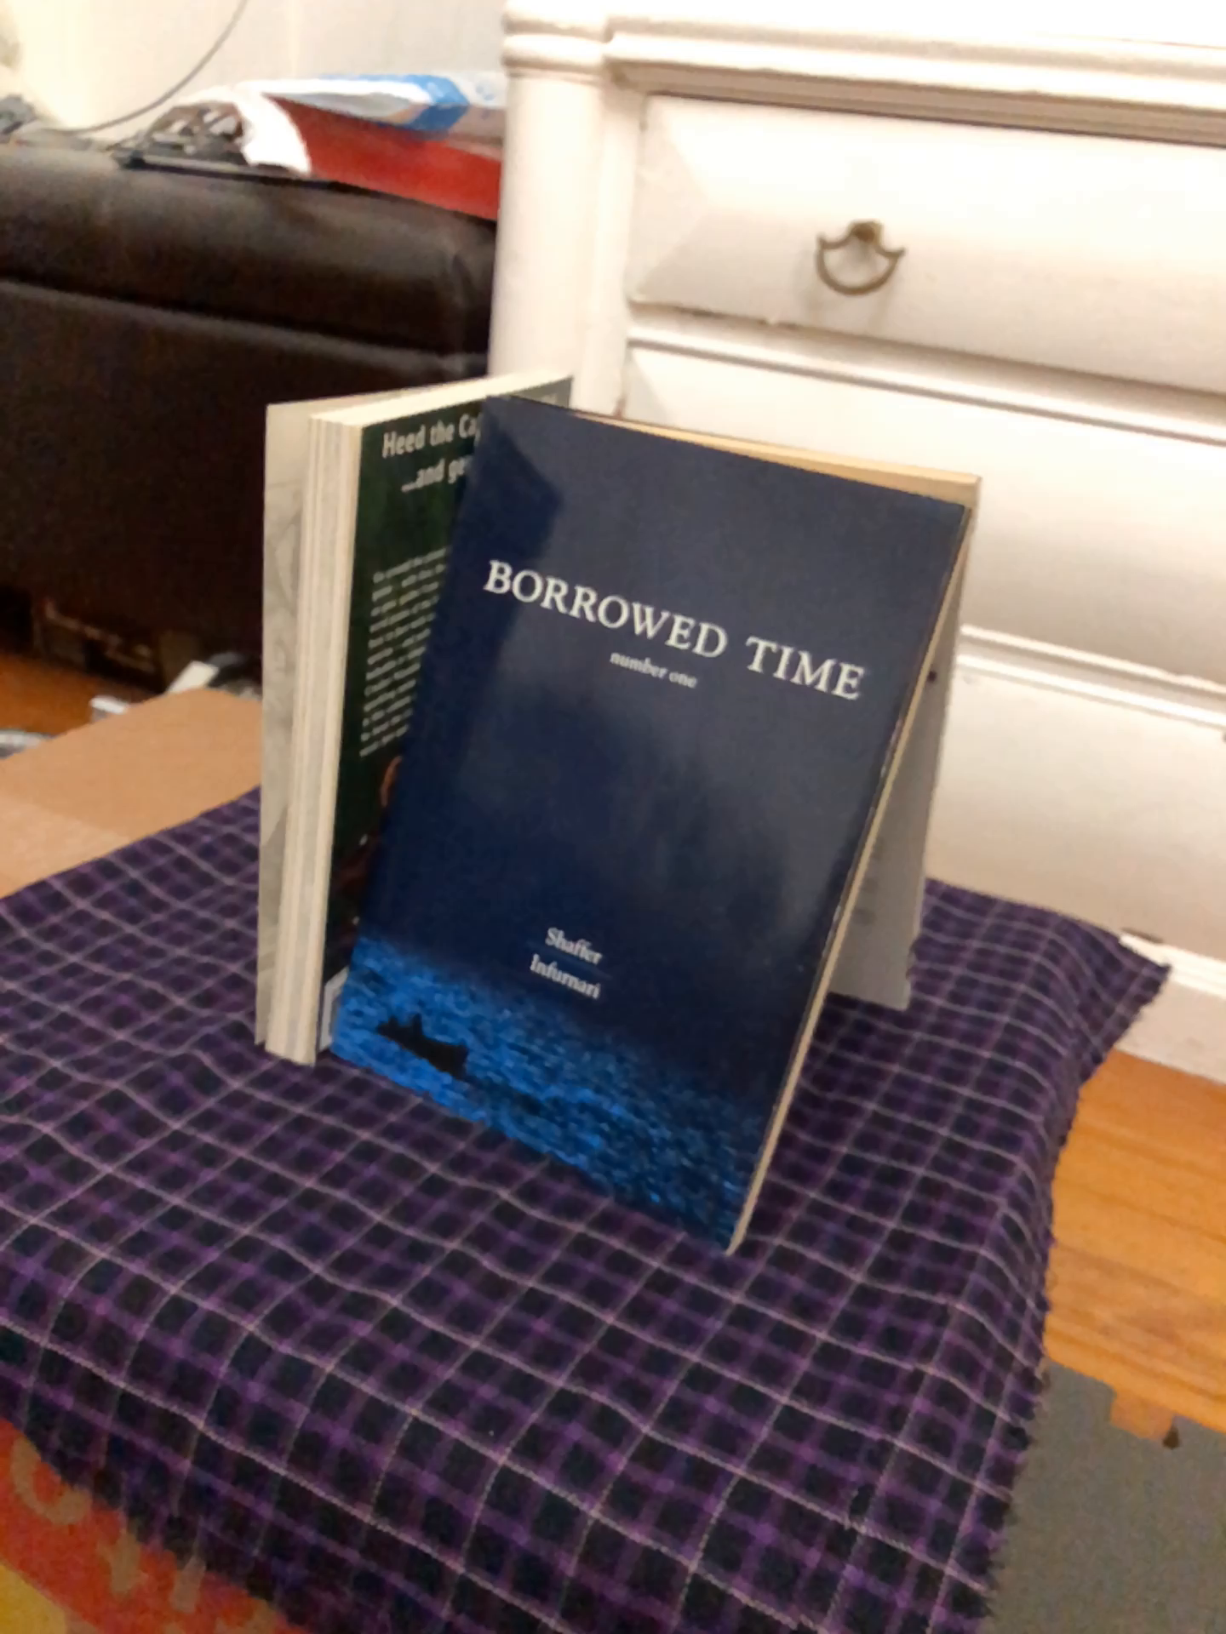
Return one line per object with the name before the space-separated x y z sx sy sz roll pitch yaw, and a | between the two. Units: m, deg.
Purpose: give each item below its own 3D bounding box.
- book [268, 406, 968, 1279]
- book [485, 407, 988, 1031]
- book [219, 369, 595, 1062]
book | -0.007 0.001 0.373 0.150 0.200 0.010 19 6 22
book | 0.034 -0.023 0.429 0.140 0.199 0.010 15 44 20
book | -0.062 -0.037 0.426 0.020 0.189 0.141 21 27 15
